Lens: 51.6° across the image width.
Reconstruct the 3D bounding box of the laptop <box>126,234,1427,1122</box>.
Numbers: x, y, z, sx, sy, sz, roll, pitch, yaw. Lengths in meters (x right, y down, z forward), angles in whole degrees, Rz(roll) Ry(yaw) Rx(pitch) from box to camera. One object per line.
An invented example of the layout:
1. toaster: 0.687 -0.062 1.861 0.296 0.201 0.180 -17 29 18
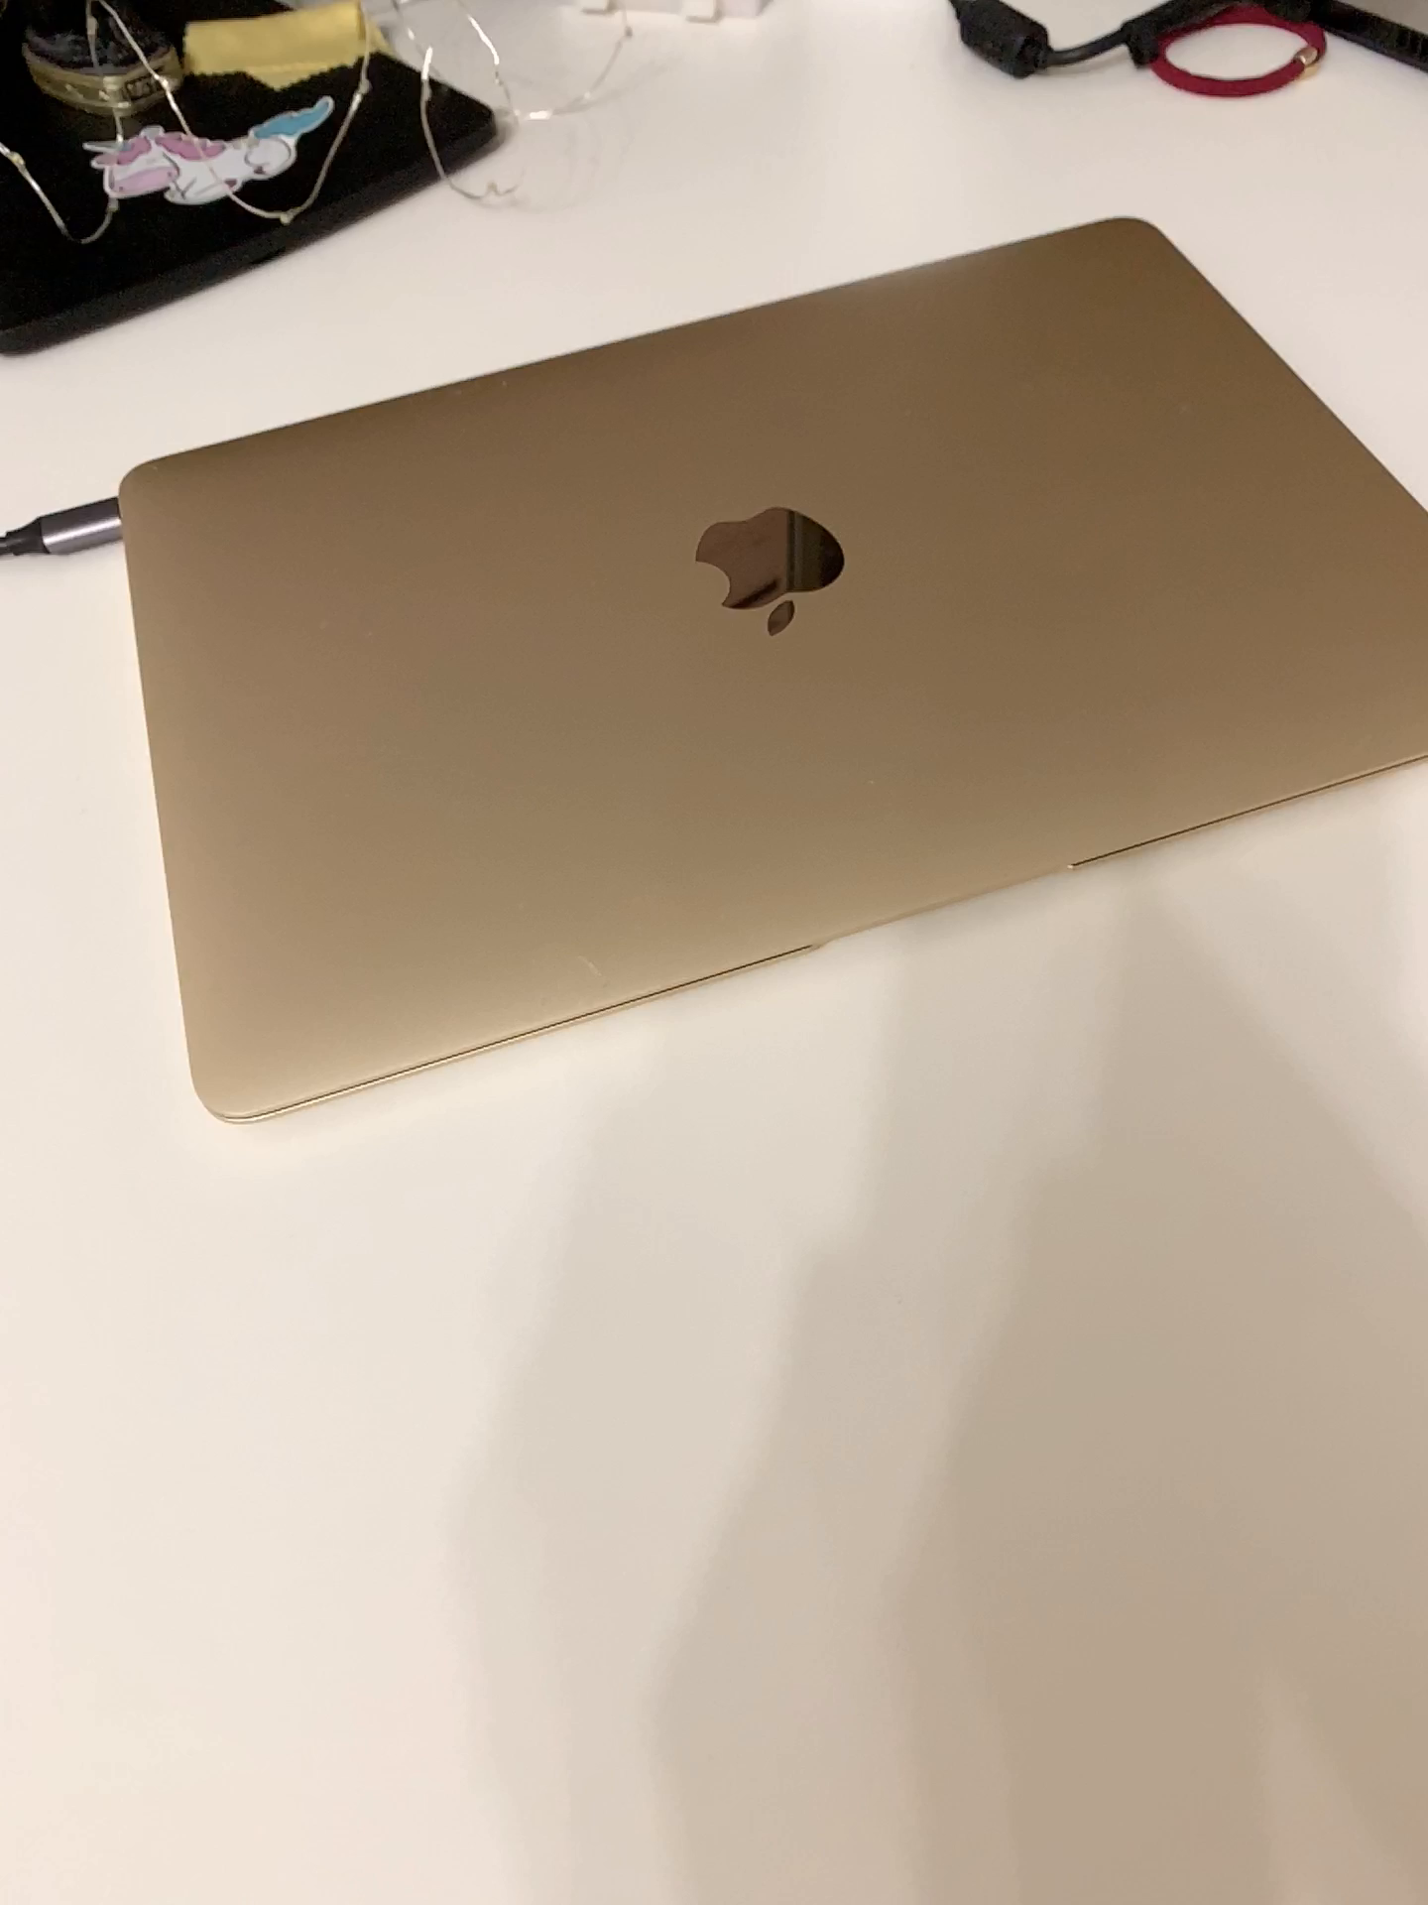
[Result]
1. laptop: 0.010 -0.078 0.319 0.255 0.009 0.175 -17 56 -7
